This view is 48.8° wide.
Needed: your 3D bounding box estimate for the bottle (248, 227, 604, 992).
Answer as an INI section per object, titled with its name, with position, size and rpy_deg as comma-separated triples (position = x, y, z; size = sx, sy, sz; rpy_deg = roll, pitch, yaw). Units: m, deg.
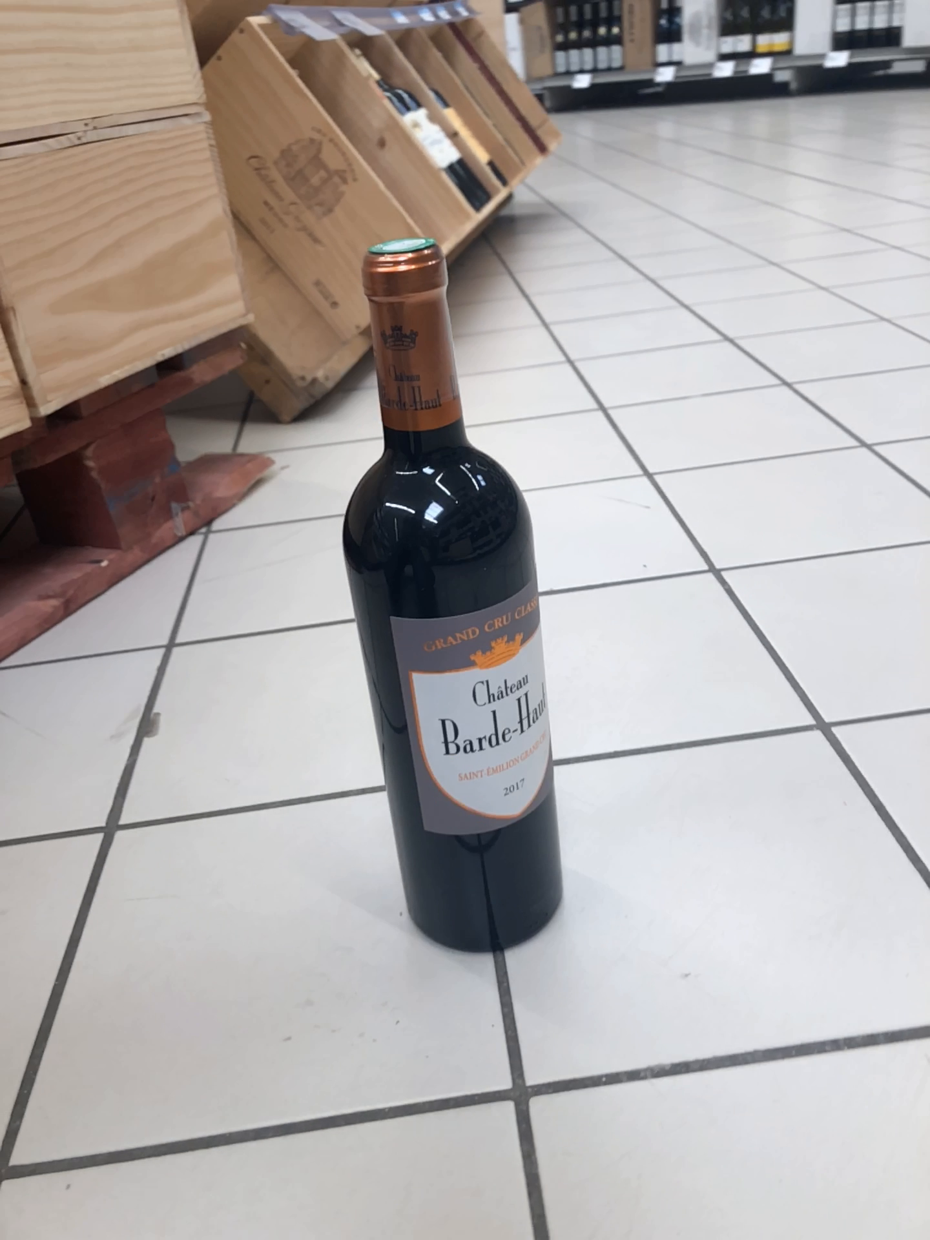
[bottle]
position = -0.007, 0.003, 0.413
size = 0.080, 0.288, 0.080
rpy_deg = -5, 28, 3
